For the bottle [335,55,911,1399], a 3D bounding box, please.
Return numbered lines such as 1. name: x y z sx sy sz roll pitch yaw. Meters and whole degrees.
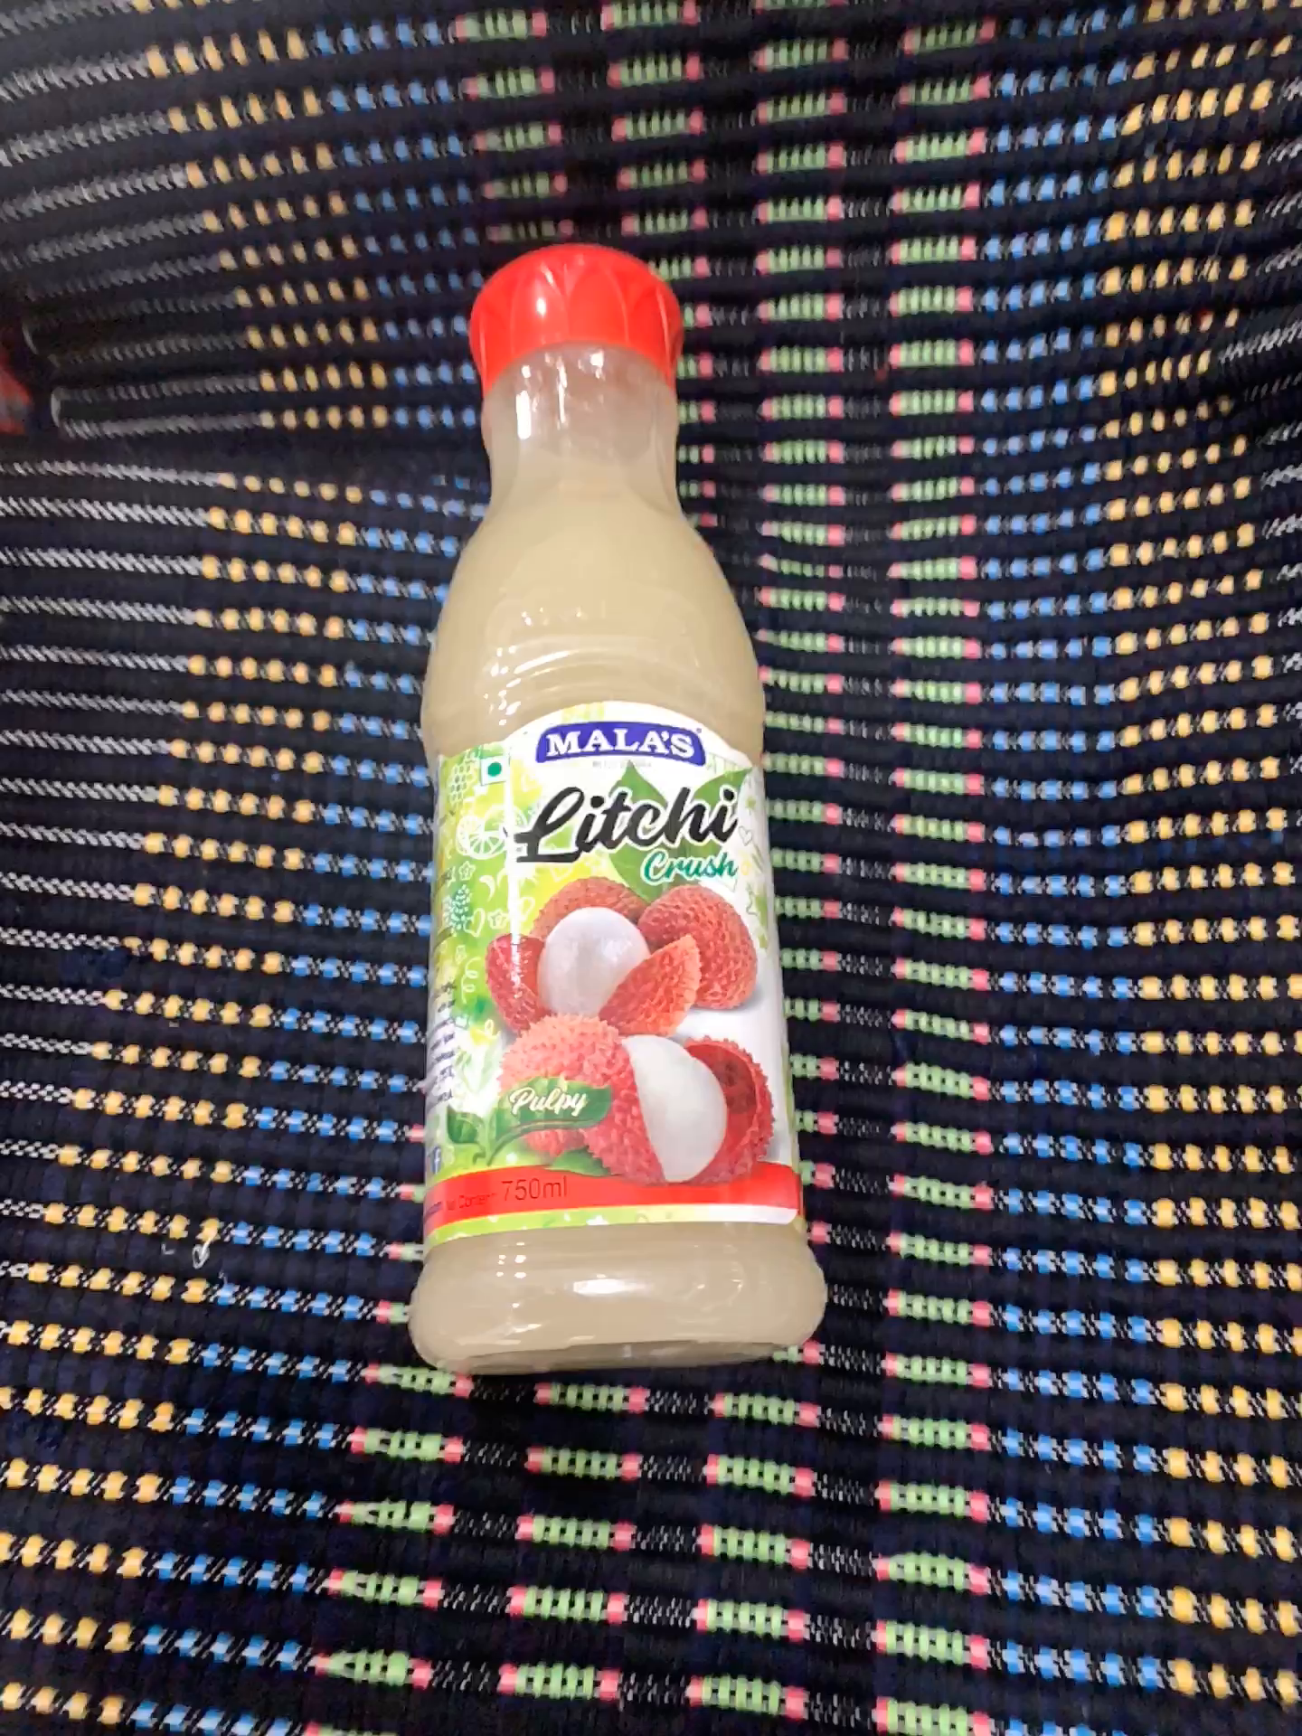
1. bottle: -0.013 -0.035 0.274 0.080 0.080 0.260 -1 67 -6
